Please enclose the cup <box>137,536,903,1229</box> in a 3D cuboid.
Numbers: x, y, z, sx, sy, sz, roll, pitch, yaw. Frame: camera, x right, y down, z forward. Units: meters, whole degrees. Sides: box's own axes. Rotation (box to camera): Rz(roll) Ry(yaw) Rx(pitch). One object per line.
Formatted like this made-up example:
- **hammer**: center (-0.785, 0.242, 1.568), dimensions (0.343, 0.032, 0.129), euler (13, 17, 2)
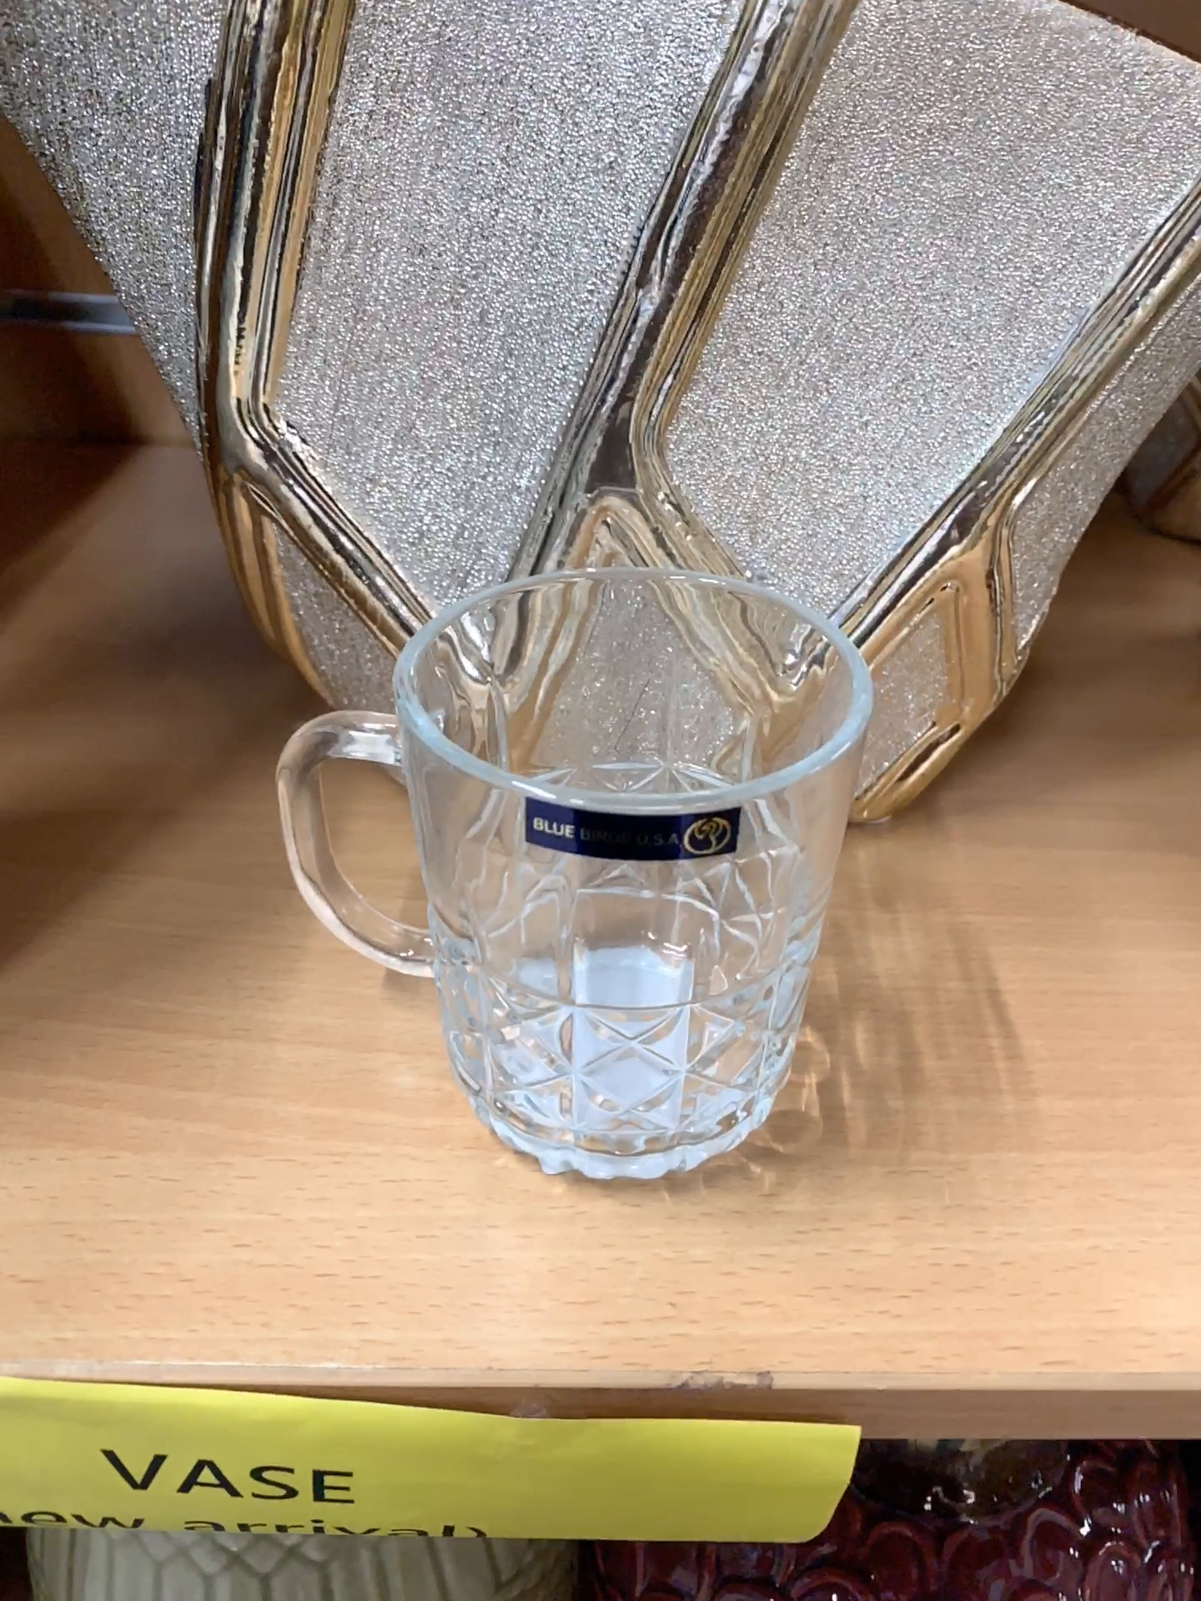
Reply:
- **cup**: center (-0.010, 0.013, 0.216), dimensions (0.100, 0.090, 0.070), euler (3, 34, 2)
